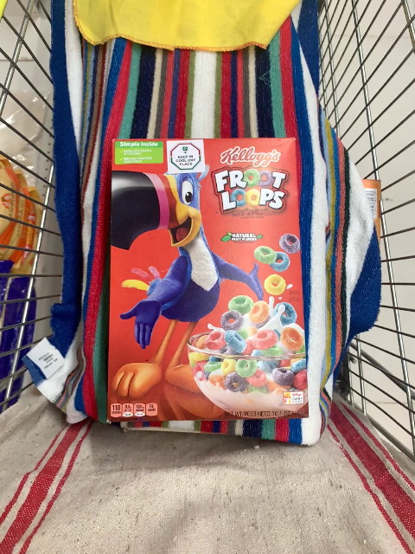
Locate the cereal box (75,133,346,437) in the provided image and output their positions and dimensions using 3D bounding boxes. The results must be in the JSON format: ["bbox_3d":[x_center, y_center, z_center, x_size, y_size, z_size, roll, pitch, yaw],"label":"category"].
[{"bbox_3d":[0.000,0.004,0.382,0.210,0.060,0.250,-1,80,-1],"label":"cereal box"}]
